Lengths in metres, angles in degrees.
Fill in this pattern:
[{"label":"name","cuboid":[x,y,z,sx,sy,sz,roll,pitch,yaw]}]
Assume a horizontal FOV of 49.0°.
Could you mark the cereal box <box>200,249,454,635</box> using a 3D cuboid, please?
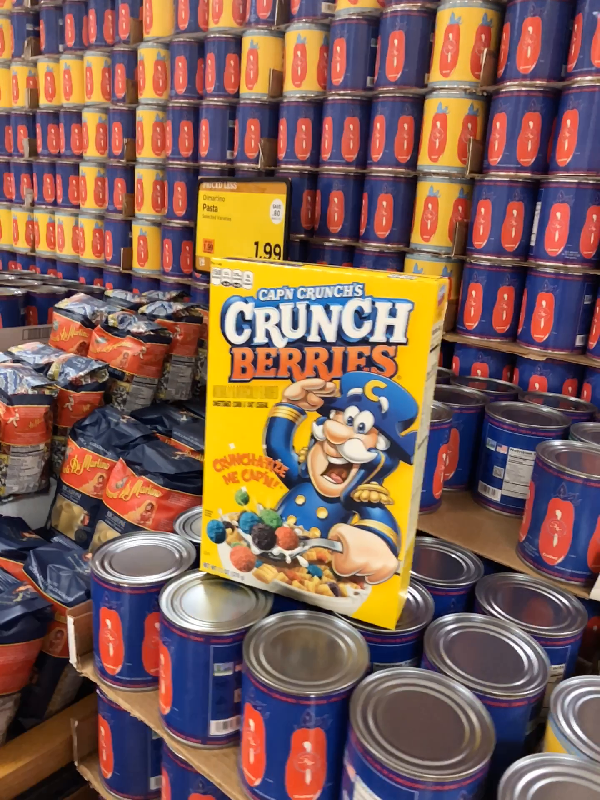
[{"label":"cereal box","cuboid":[0.014,0.030,0.574,0.190,0.299,0.060,10,17,22]}]
